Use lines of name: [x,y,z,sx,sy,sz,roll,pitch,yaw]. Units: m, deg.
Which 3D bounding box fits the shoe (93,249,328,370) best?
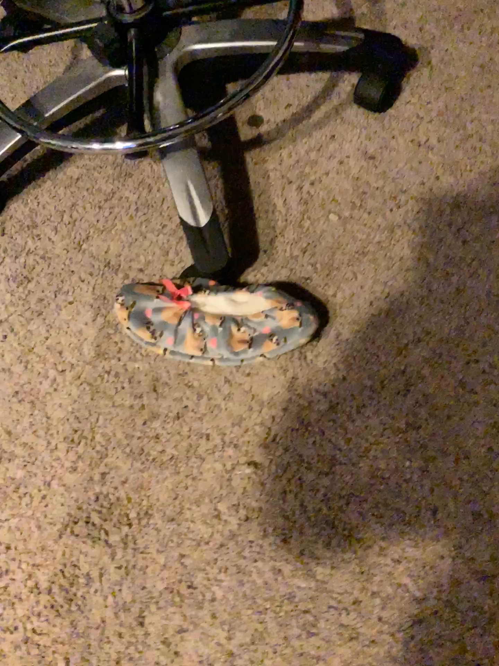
shoe: [-0.039,-0.026,0.659,0.260,0.070,0.120,0,68,9]
